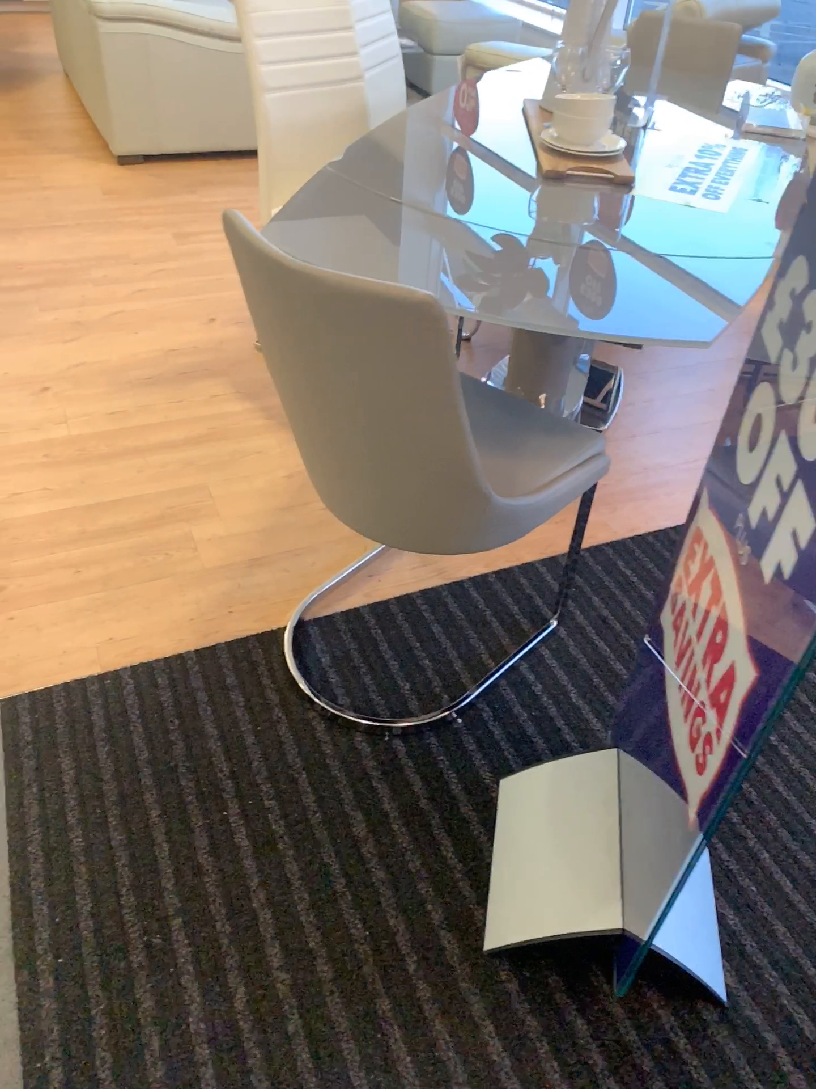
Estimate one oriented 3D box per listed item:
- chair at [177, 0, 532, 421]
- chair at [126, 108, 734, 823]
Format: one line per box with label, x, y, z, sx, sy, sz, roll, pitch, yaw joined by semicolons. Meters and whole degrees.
chair;-0.157;-0.949;2.201;0.543;0.931;0.623;-29;50;-34
chair;0.028;-0.157;1.437;0.532;0.901;0.684;32;47;29
